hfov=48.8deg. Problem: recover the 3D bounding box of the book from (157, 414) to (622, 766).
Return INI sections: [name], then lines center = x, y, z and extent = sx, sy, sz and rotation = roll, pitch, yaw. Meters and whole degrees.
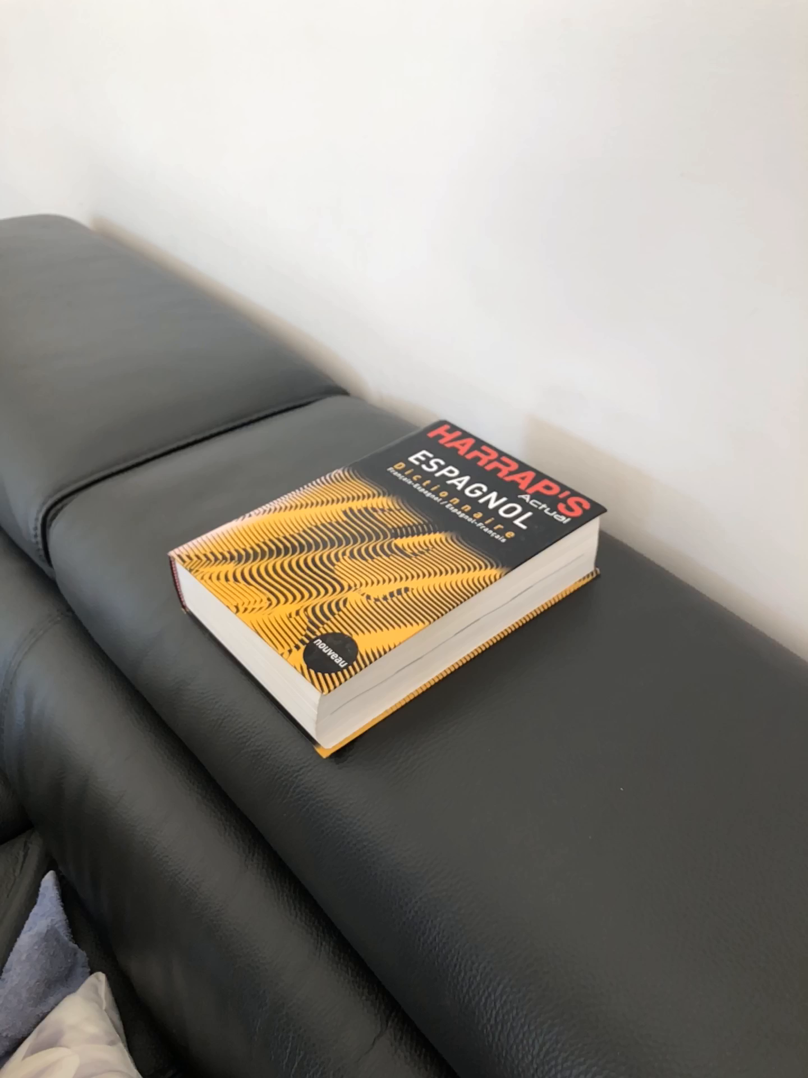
[book]
center = -0.007, 0.015, 0.624
extent = 0.261, 0.050, 0.185
rotation = -29, 45, -29
